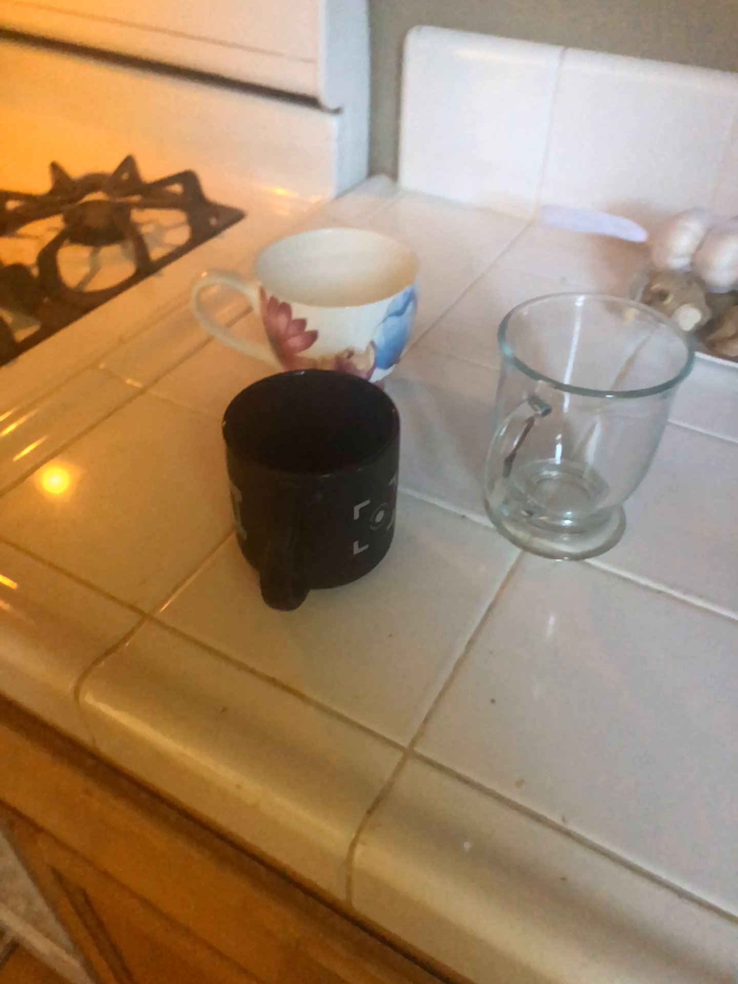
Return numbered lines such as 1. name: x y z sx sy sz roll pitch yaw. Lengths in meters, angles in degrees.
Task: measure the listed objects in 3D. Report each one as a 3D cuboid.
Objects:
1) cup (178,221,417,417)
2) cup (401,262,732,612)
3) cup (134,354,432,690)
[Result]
1. cup: -0.042 -0.117 0.546 0.140 0.079 0.111 1 43 0
2. cup: 0.098 -0.033 0.439 0.121 0.119 0.100 -26 50 -26
3. cup: -0.036 0.010 0.424 0.100 0.089 0.131 14 45 13
